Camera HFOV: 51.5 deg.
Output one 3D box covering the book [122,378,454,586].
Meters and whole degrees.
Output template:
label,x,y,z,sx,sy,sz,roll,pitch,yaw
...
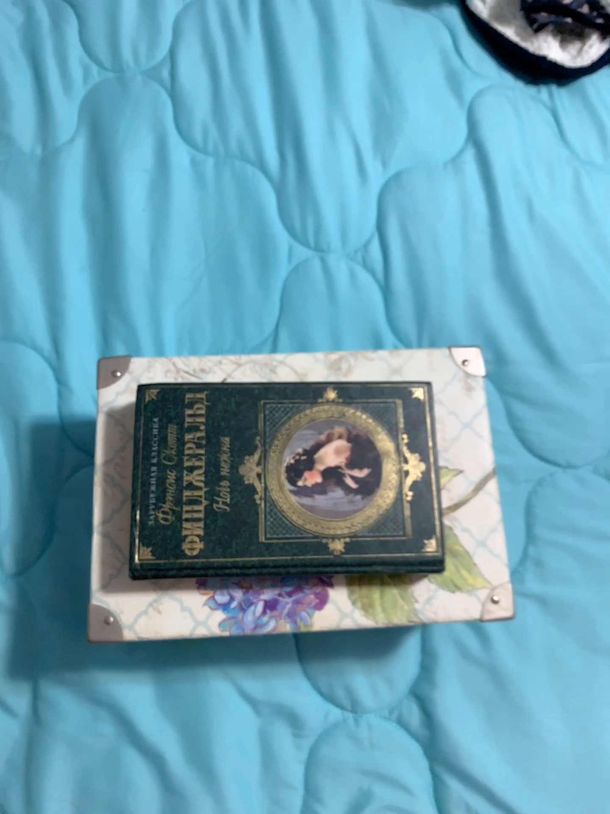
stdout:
label,x,y,z,sx,sy,sz,roll,pitch,yaw
book,-0.012,0.051,0.451,0.220,0.030,0.140,-1,75,-4
